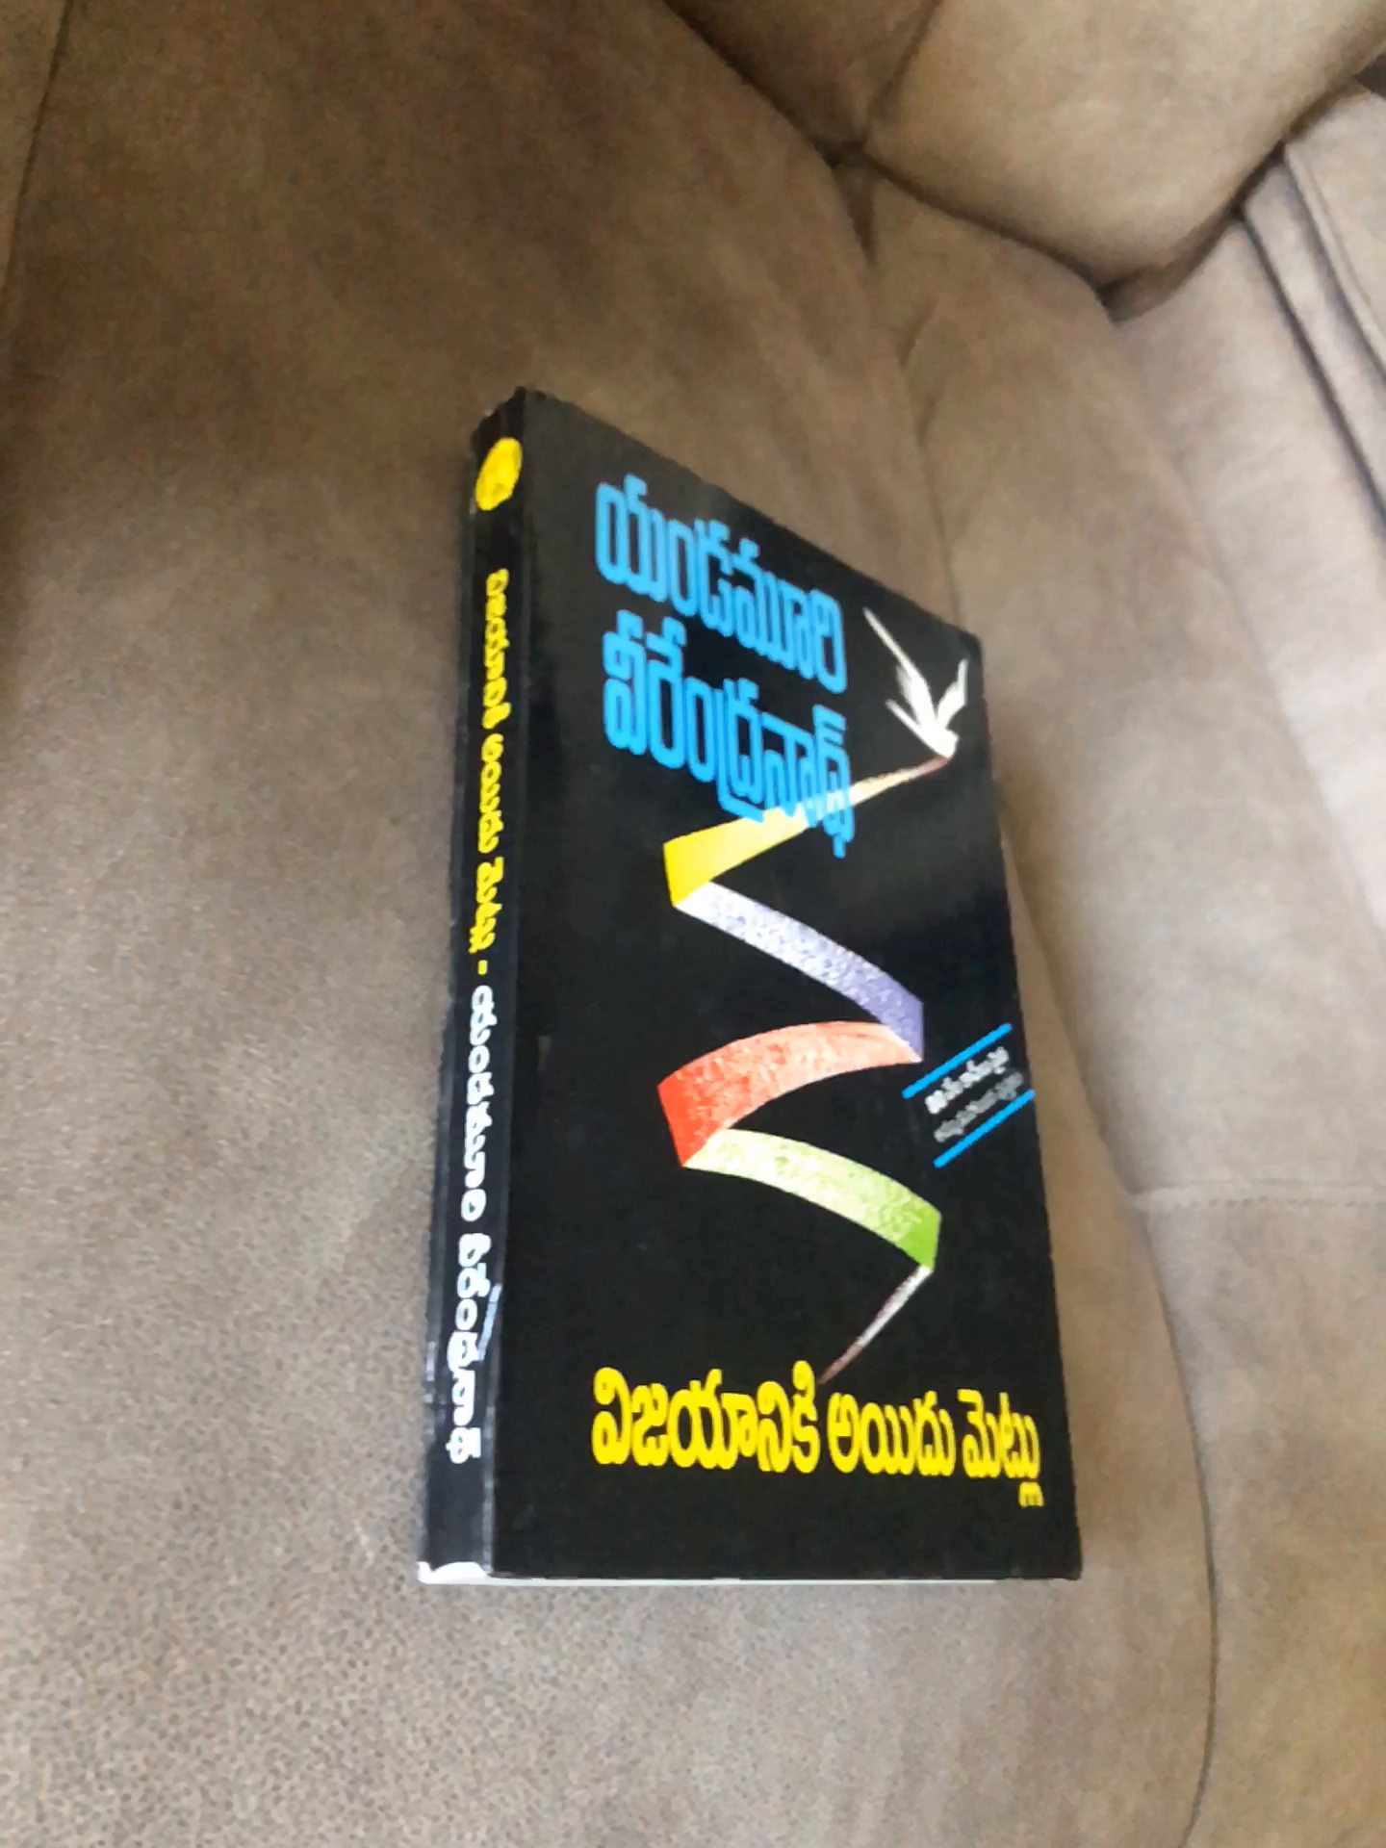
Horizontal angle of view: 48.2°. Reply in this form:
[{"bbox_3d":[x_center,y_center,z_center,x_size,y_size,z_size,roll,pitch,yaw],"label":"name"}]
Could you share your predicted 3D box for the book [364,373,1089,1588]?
[{"bbox_3d":[0.014,0.015,0.305,0.144,0.026,0.212,20,59,-38],"label":"book"}]
